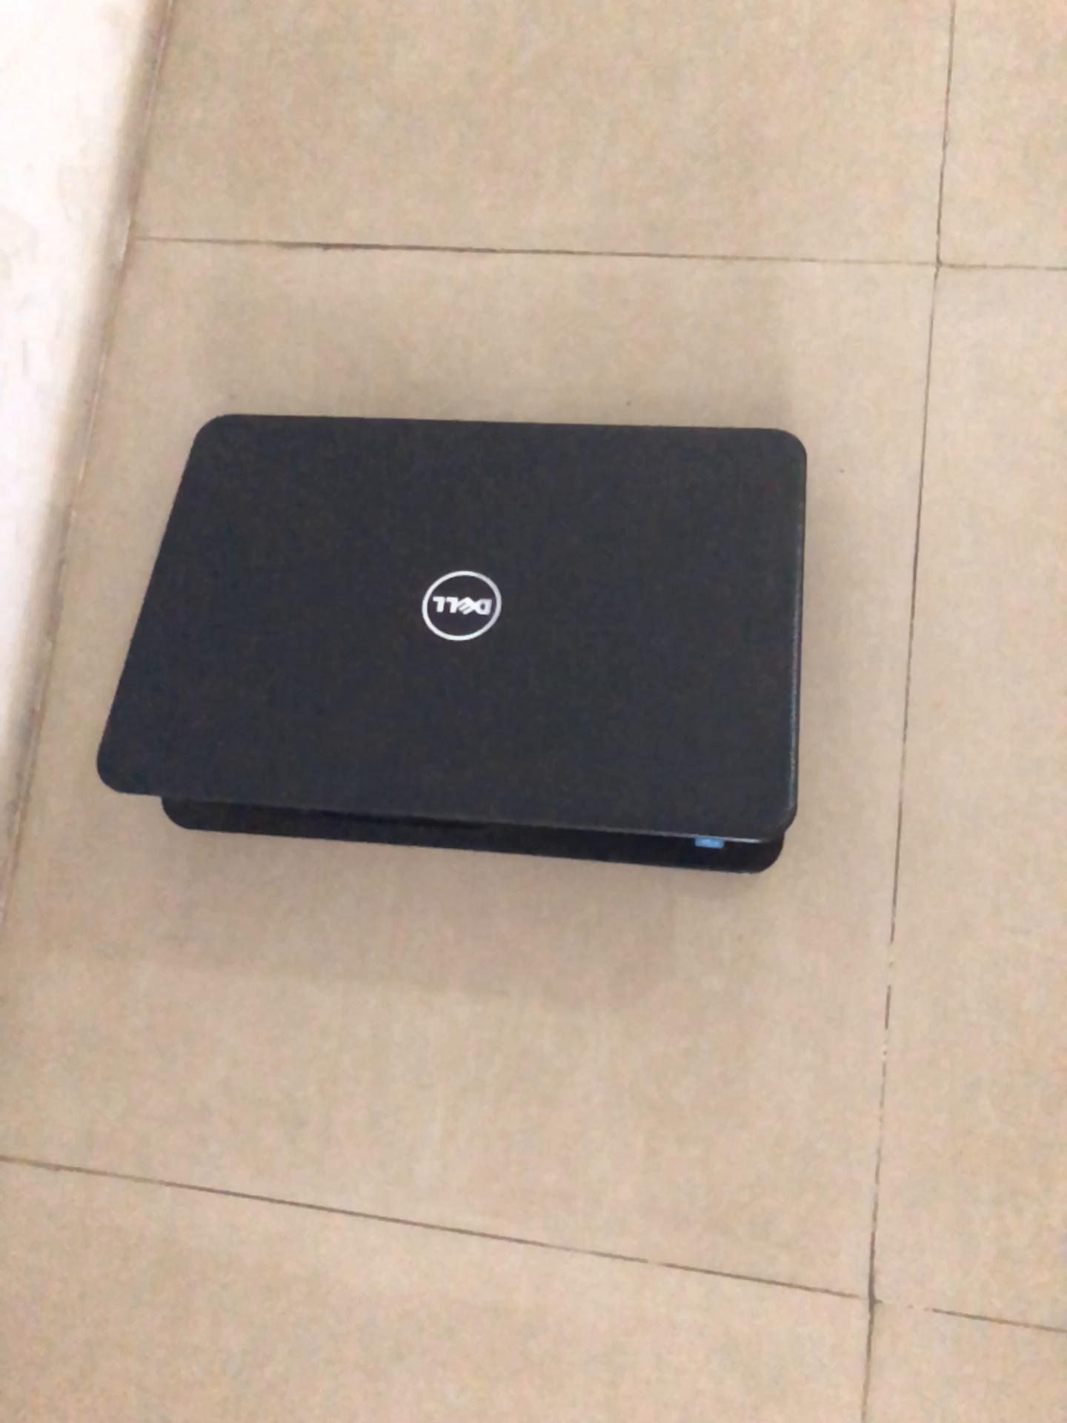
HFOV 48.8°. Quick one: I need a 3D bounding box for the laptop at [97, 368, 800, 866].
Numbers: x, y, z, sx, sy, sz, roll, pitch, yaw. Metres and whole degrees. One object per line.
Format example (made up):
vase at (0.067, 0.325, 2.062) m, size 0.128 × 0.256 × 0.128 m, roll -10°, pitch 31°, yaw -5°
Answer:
laptop at (-0.042, -0.053, 0.655) m, size 0.357 × 0.078 × 0.248 m, roll 3°, pitch 82°, yaw 8°
